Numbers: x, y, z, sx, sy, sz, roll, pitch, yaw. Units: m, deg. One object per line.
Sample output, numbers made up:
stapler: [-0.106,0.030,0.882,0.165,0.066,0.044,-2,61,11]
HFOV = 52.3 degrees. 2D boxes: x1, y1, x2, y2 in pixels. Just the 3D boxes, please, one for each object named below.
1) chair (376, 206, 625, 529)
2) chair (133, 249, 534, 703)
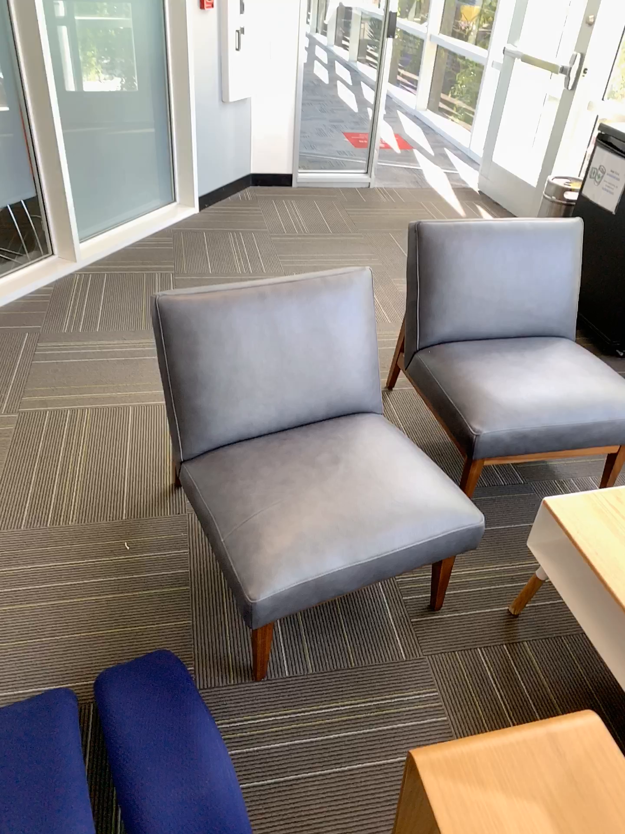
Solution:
chair: [0.765,-0.227,2.303,0.740,0.766,0.855,-6,38,-14]
chair: [-0.030,0.094,1.787,0.681,0.766,0.854,-13,40,-22]
